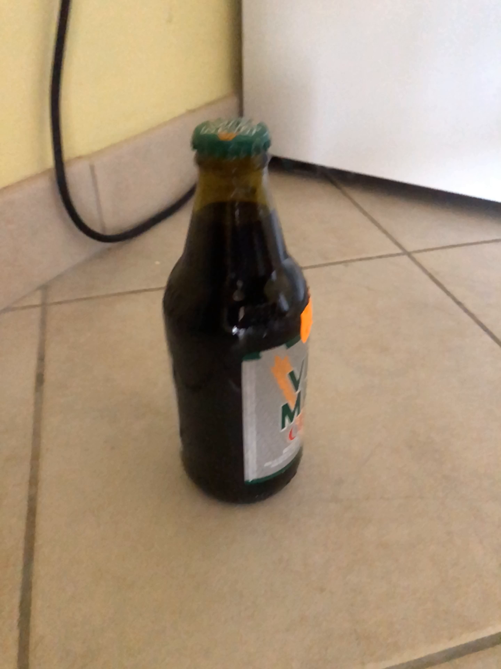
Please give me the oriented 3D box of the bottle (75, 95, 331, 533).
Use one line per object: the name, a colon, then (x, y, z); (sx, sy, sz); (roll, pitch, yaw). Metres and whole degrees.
bottle: (-0.011, -0.002, 0.237); (0.070, 0.169, 0.071); (0, 37, 0)
